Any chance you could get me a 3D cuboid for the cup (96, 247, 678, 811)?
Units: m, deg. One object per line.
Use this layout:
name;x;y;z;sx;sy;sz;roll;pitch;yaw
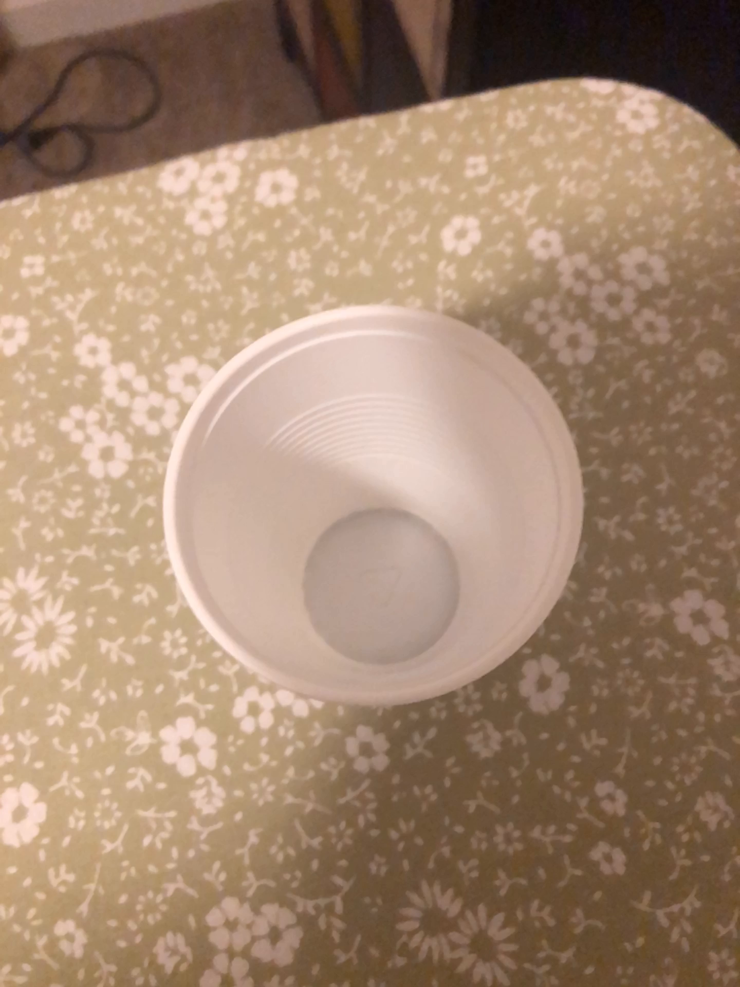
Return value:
cup;0.003;0.015;0.199;0.077;0.090;0.078;0;73;1
